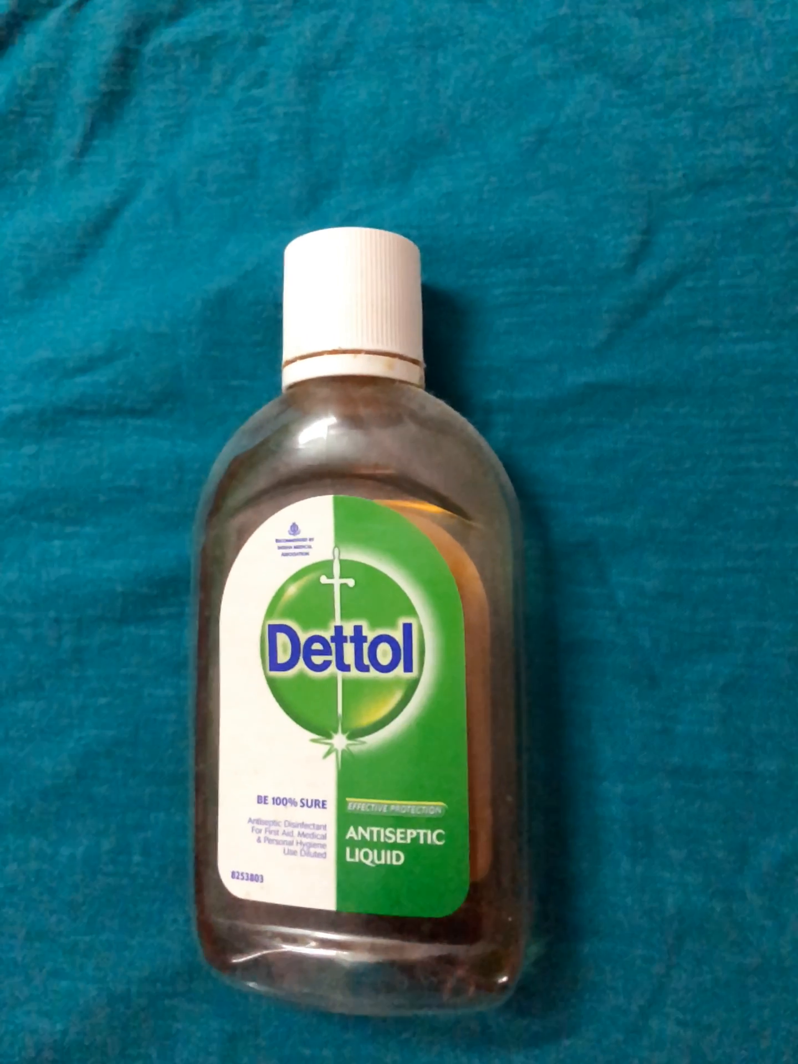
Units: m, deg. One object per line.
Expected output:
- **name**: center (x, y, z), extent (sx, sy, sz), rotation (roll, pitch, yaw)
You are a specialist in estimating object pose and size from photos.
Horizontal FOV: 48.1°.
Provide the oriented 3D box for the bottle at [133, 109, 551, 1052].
- **bottle**: center (-0.009, 0.007, 0.198), extent (0.080, 0.040, 0.180), rotation (-1, 83, 12)
